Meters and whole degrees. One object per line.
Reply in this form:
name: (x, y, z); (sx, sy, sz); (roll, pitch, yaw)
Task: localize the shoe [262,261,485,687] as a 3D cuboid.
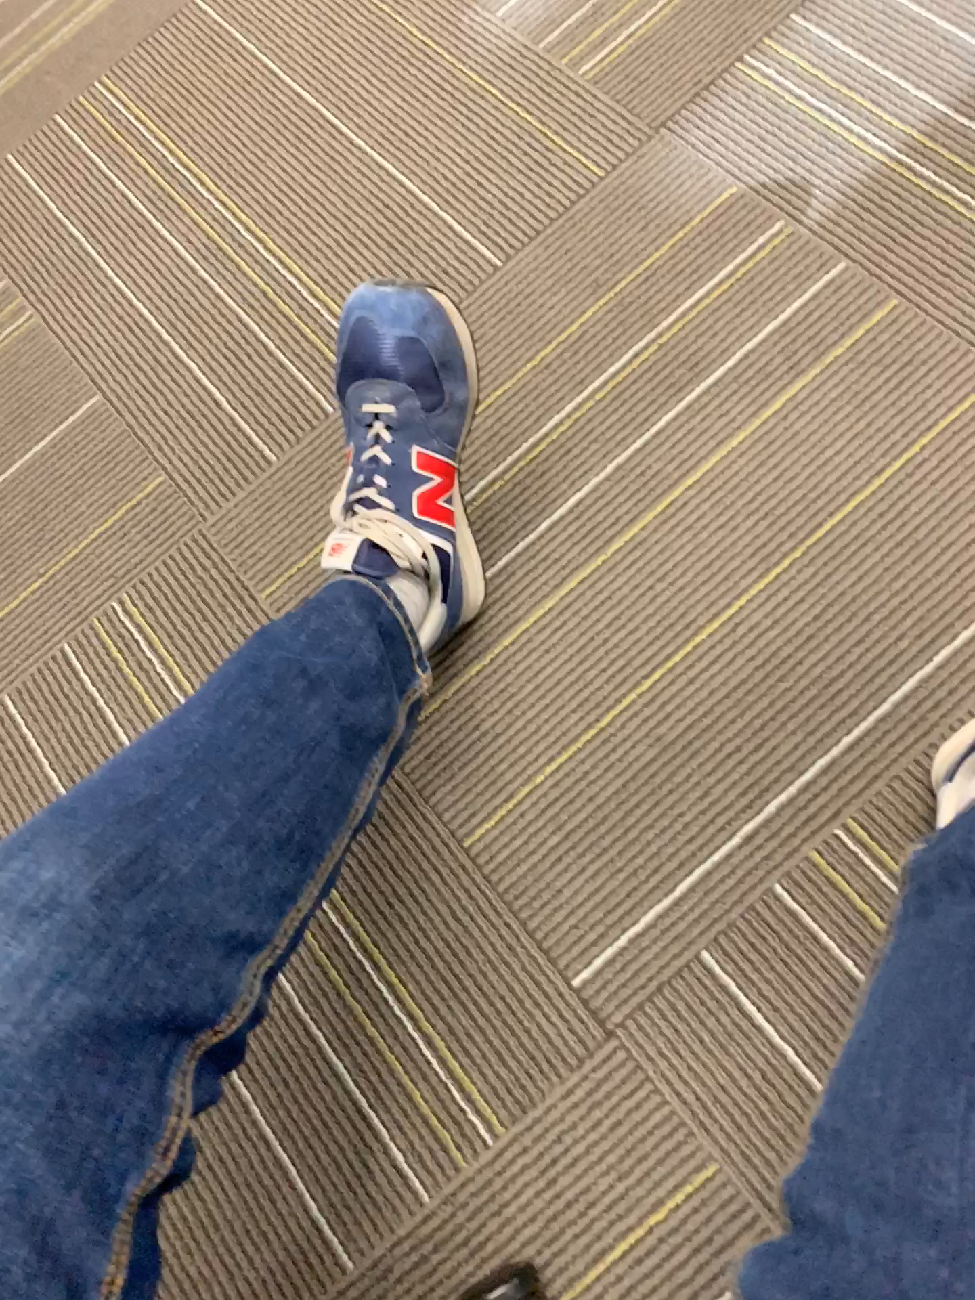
shoe: (-0.076, -0.130, 0.769); (0.115, 0.302, 0.096); (9, 34, 17)

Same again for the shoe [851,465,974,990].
shoe: (0.373, 0.059, 0.626); (0.120, 0.296, 0.136); (30, 41, 9)
